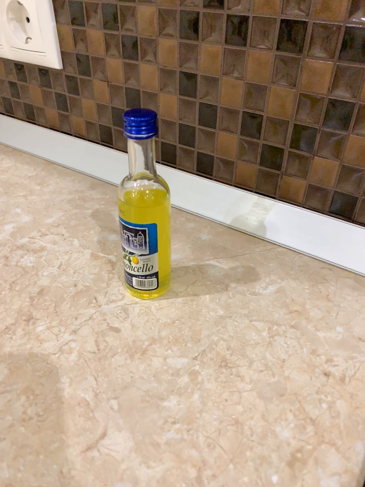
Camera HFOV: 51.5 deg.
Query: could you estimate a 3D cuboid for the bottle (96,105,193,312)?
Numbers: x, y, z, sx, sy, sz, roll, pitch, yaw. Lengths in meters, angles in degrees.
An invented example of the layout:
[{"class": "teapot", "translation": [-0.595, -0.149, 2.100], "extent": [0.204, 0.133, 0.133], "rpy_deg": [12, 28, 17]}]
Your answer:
[{"class": "bottle", "translation": [-0.020, -0.017, 0.234], "extent": [0.039, 0.119, 0.033], "rpy_deg": [22, 41, 26]}]
